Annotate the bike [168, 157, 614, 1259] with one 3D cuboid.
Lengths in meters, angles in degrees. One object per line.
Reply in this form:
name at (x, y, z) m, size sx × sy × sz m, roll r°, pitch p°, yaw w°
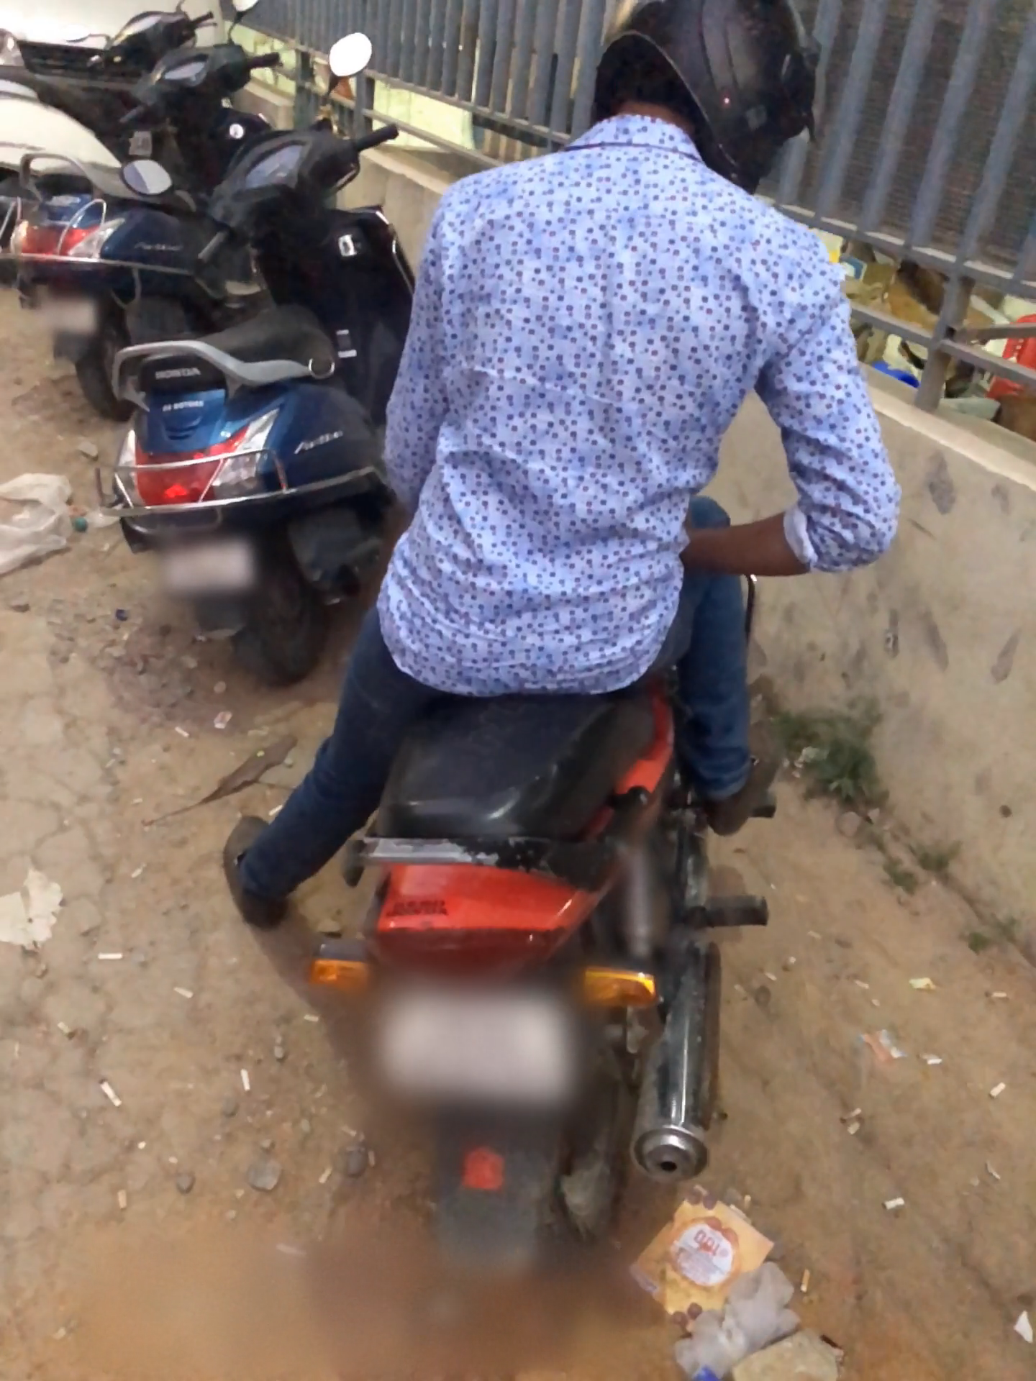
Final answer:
bike at (-0.156, -0.195, 1.913) m, size 0.424 × 0.830 × 1.661 m, roll 7°, pitch 37°, yaw -3°
